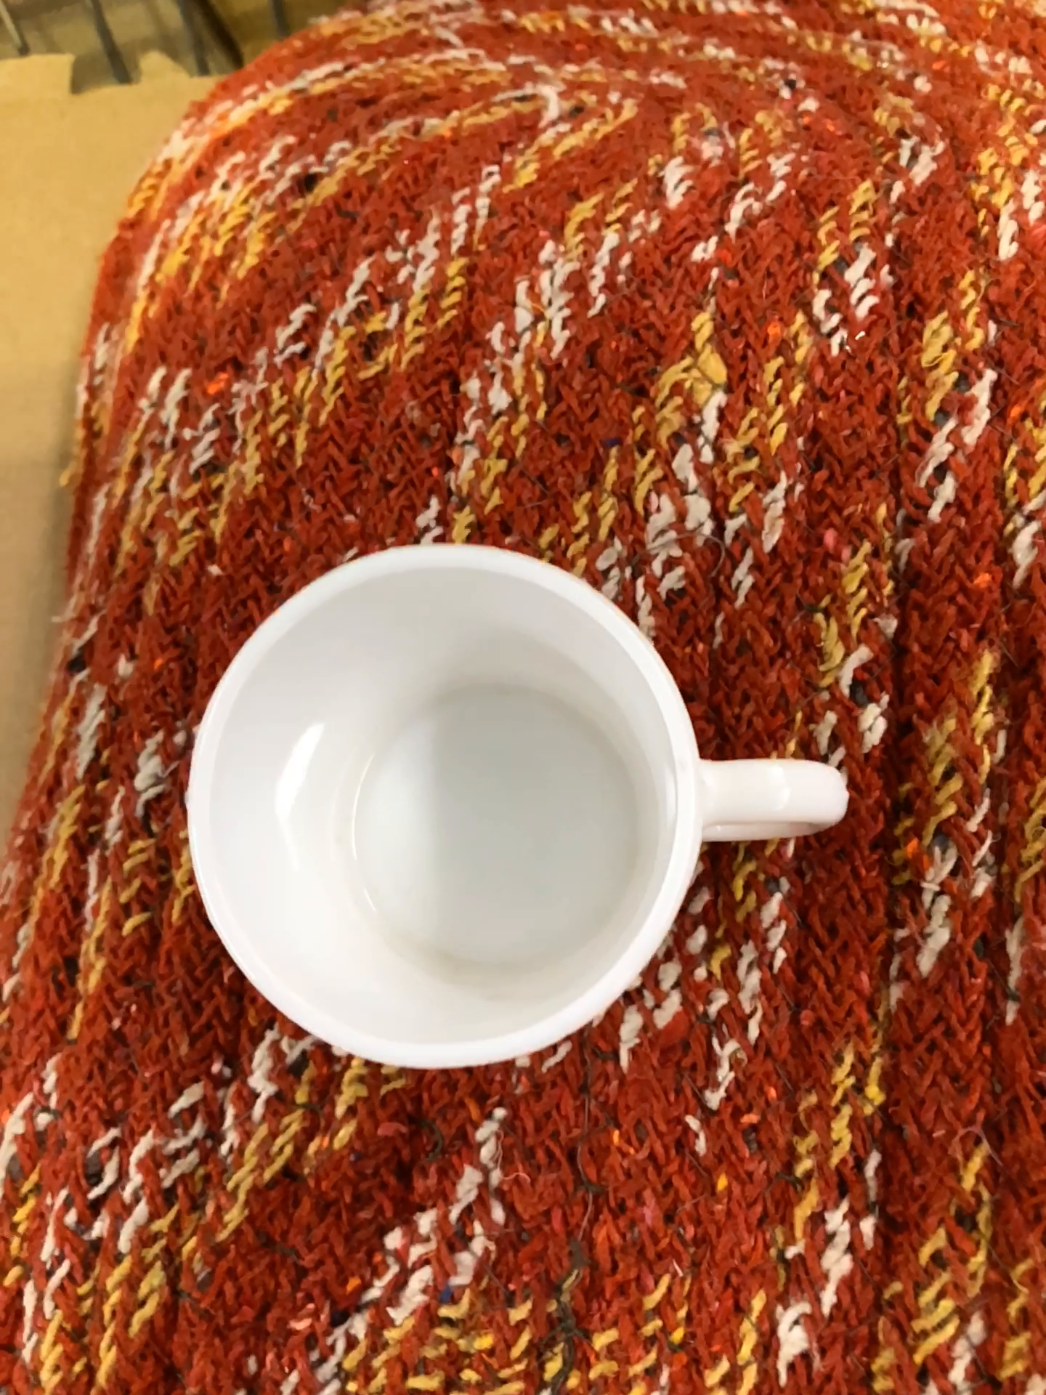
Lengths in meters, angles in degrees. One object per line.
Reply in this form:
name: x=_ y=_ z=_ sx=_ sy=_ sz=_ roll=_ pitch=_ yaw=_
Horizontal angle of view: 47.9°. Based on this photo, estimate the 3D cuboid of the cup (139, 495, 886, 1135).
cup: x=0.001 y=0.019 z=0.162 sx=0.080 sy=0.060 sz=0.070 roll=-2 pitch=76 yaw=8
